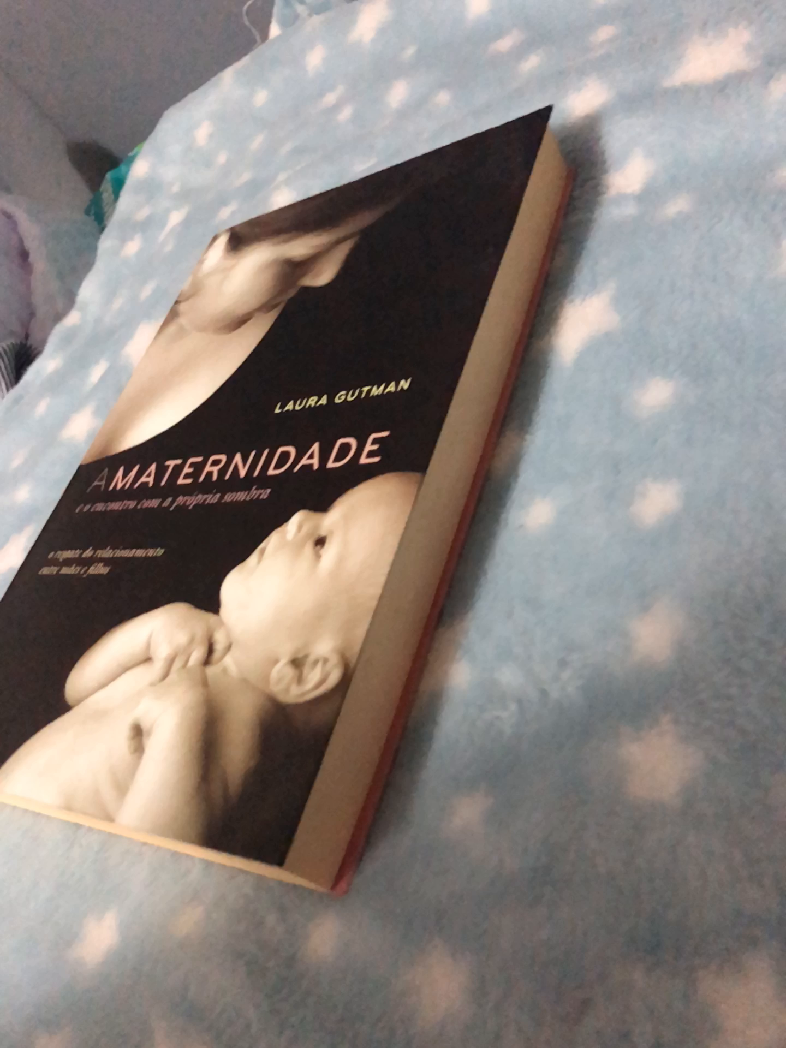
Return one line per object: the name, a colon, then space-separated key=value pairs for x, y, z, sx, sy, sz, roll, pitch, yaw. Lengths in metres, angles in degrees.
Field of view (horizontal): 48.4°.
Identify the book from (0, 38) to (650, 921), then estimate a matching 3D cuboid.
book: x=-0.030 y=-0.031 z=0.258 sx=0.161 sy=0.030 sz=0.240 roll=-3 pitch=54 yaw=38
